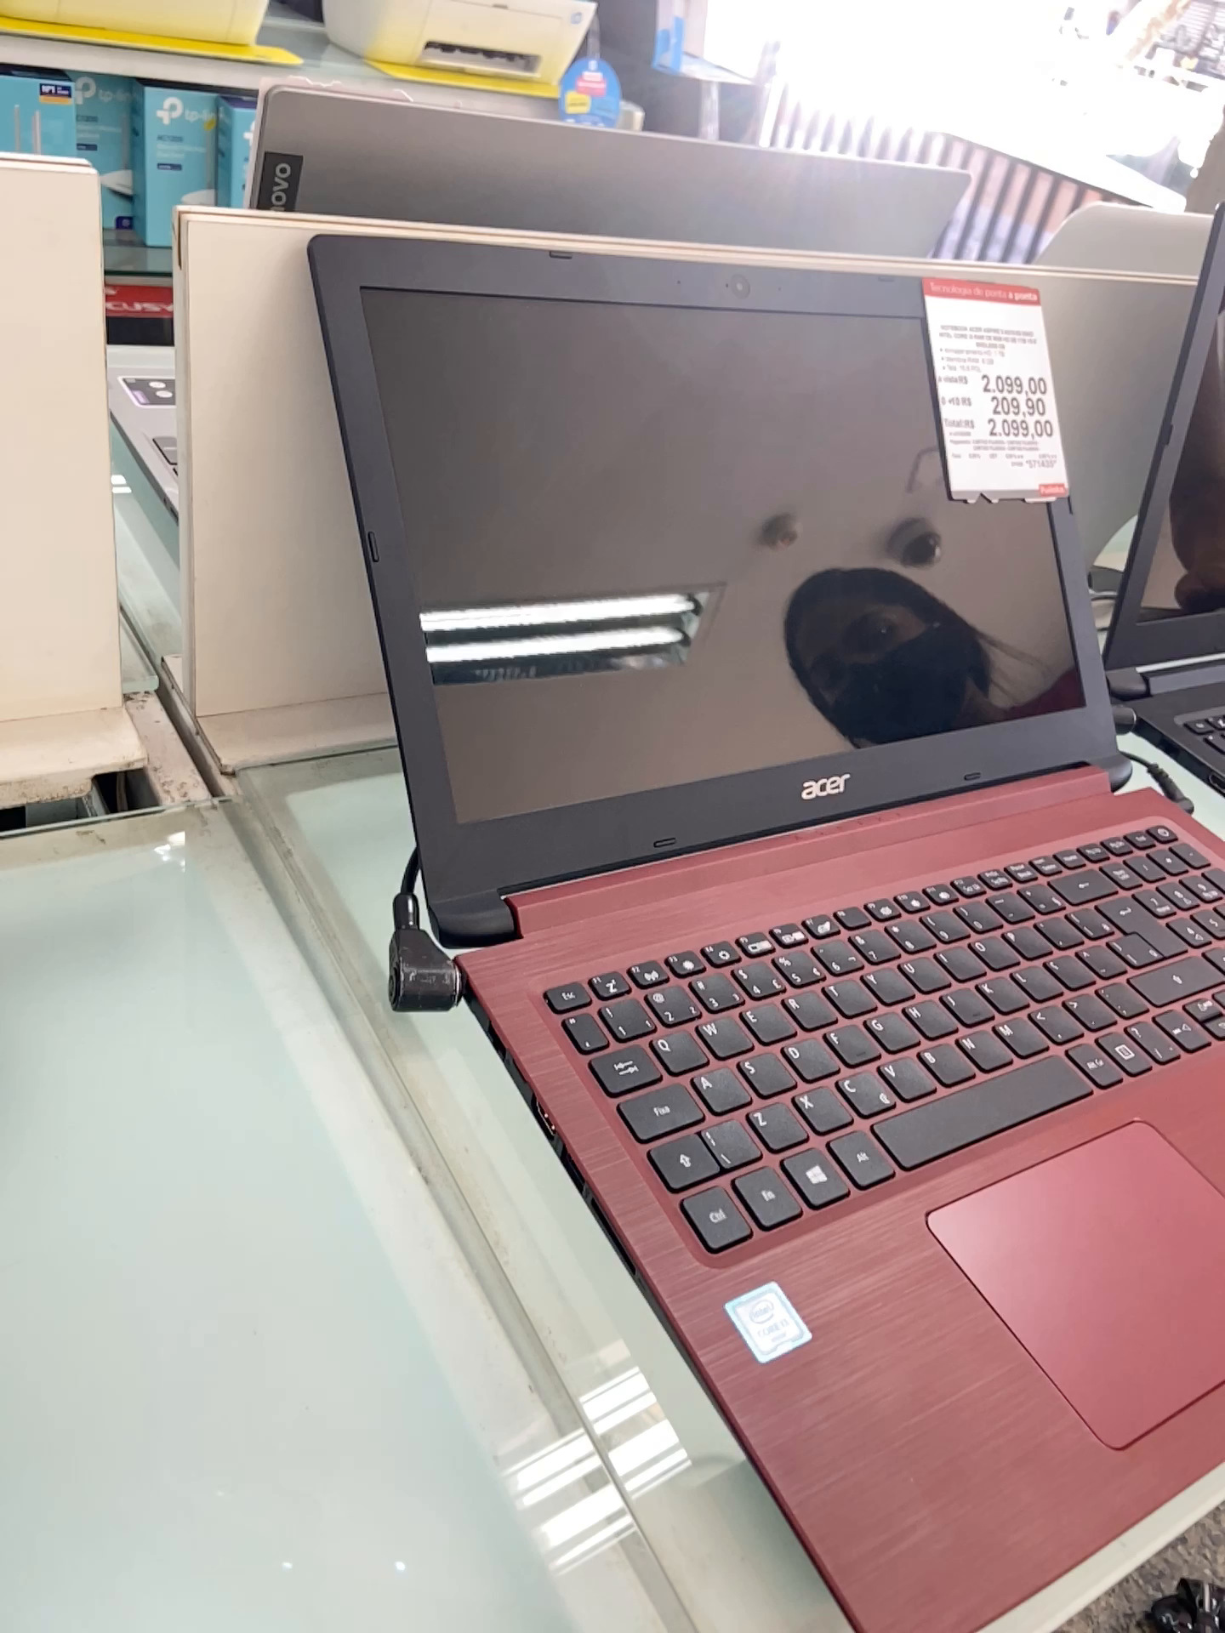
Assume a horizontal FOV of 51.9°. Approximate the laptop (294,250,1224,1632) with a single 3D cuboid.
[{"bbox_3d":[0.144,-0.038,0.475,0.392,0.193,0.430,-11,41,-30],"label":"laptop"}]
